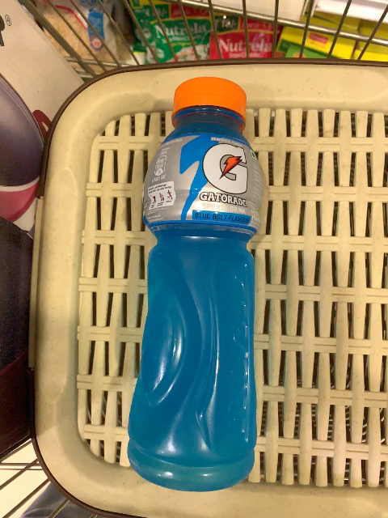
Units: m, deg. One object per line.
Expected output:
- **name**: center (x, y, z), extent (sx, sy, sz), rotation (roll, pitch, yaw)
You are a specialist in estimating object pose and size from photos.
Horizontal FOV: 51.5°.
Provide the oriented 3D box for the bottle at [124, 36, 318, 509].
- **bottle**: center (0.010, 0.007, 0.216), extent (0.080, 0.060, 0.210), rotation (3, 88, -12)
